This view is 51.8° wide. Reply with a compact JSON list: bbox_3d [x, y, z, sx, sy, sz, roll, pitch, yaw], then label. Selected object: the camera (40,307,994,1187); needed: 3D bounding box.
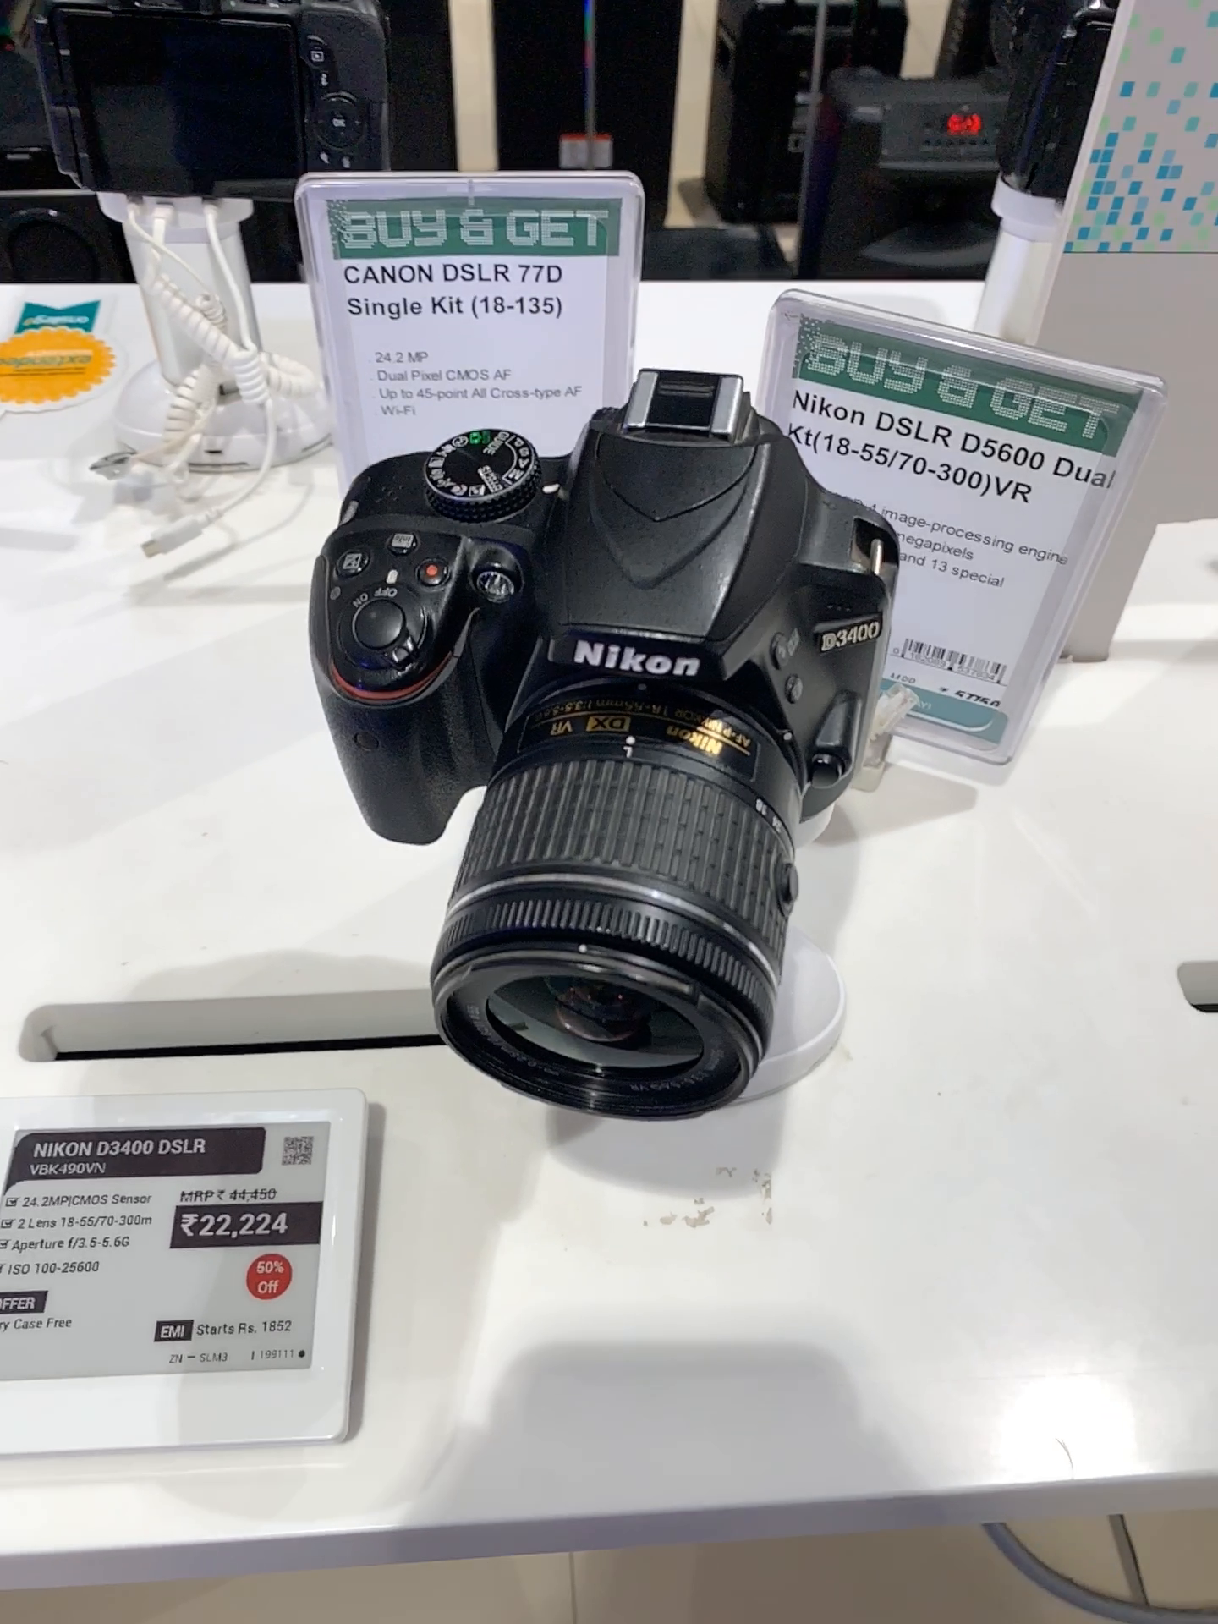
[{"bbox_3d":[-0.005,-0.016,0.224,0.120,0.080,0.120,8,50,5],"label":"camera"}]
